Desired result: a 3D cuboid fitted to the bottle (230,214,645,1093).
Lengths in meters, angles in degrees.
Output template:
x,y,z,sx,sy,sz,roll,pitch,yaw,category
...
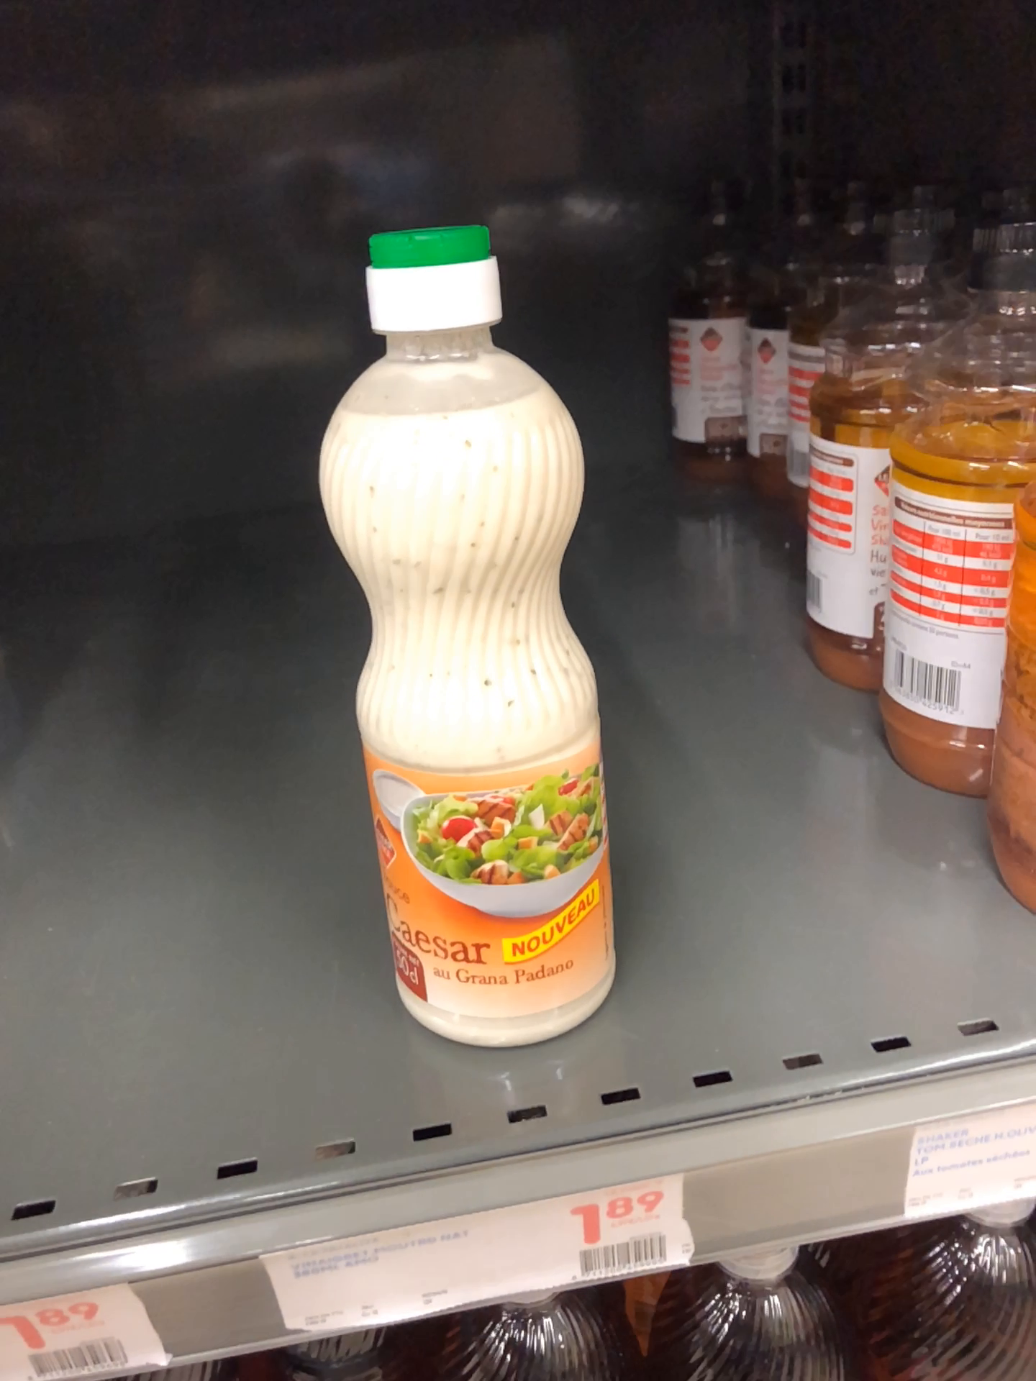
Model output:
x,y,z,sx,sy,sz,roll,pitch,yaw,category
-0.018,-0.008,0.329,0.080,0.229,0.080,-5,24,2,bottle
